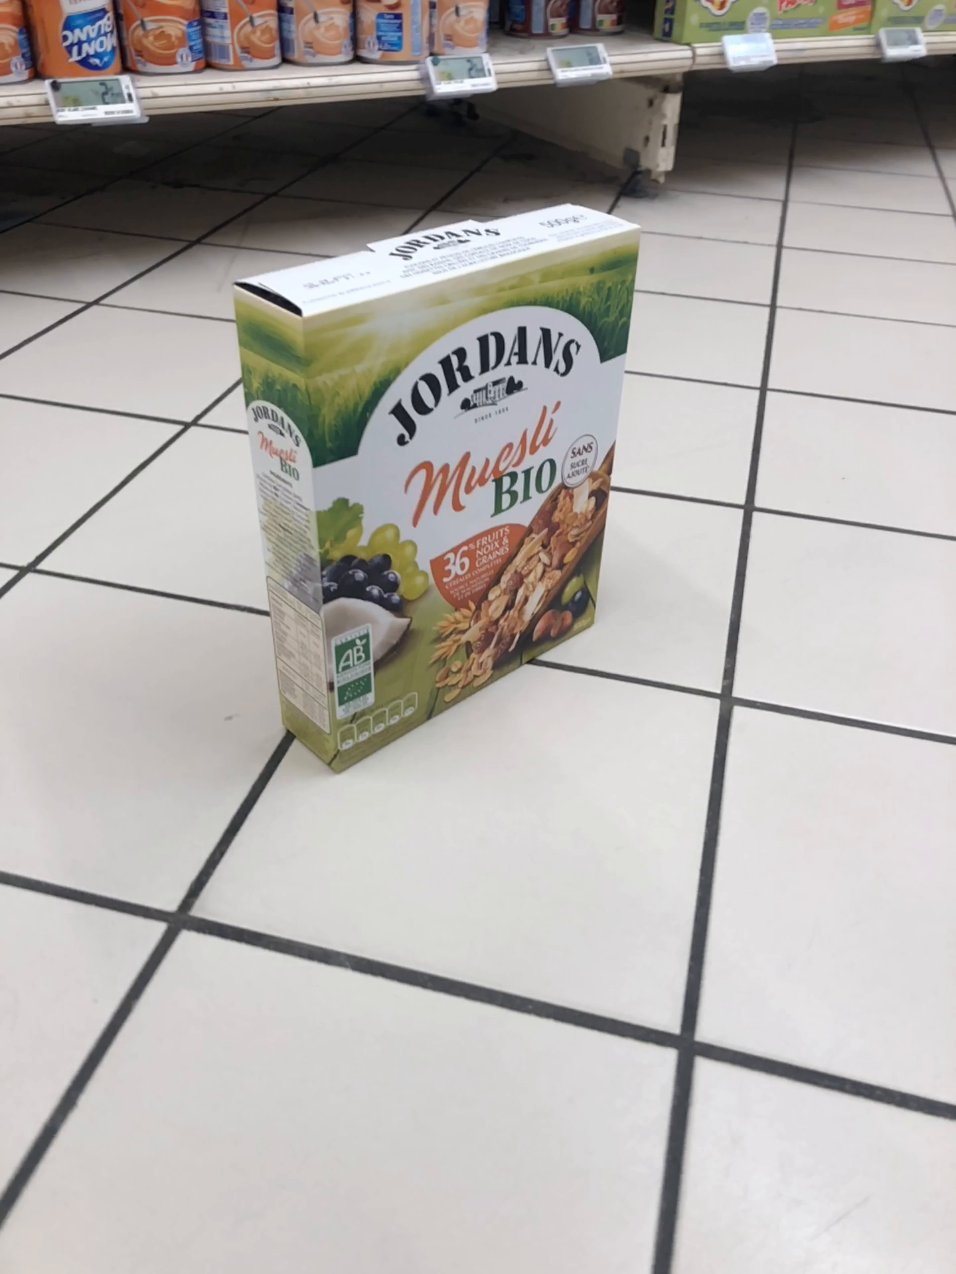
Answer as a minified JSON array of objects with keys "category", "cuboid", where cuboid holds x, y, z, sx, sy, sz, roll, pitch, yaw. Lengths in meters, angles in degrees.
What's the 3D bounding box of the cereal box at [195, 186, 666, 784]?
[{"category":"cereal box","cuboid":[-0.013,-0.071,0.468,0.191,0.209,0.060,-28,46,-35]}]
